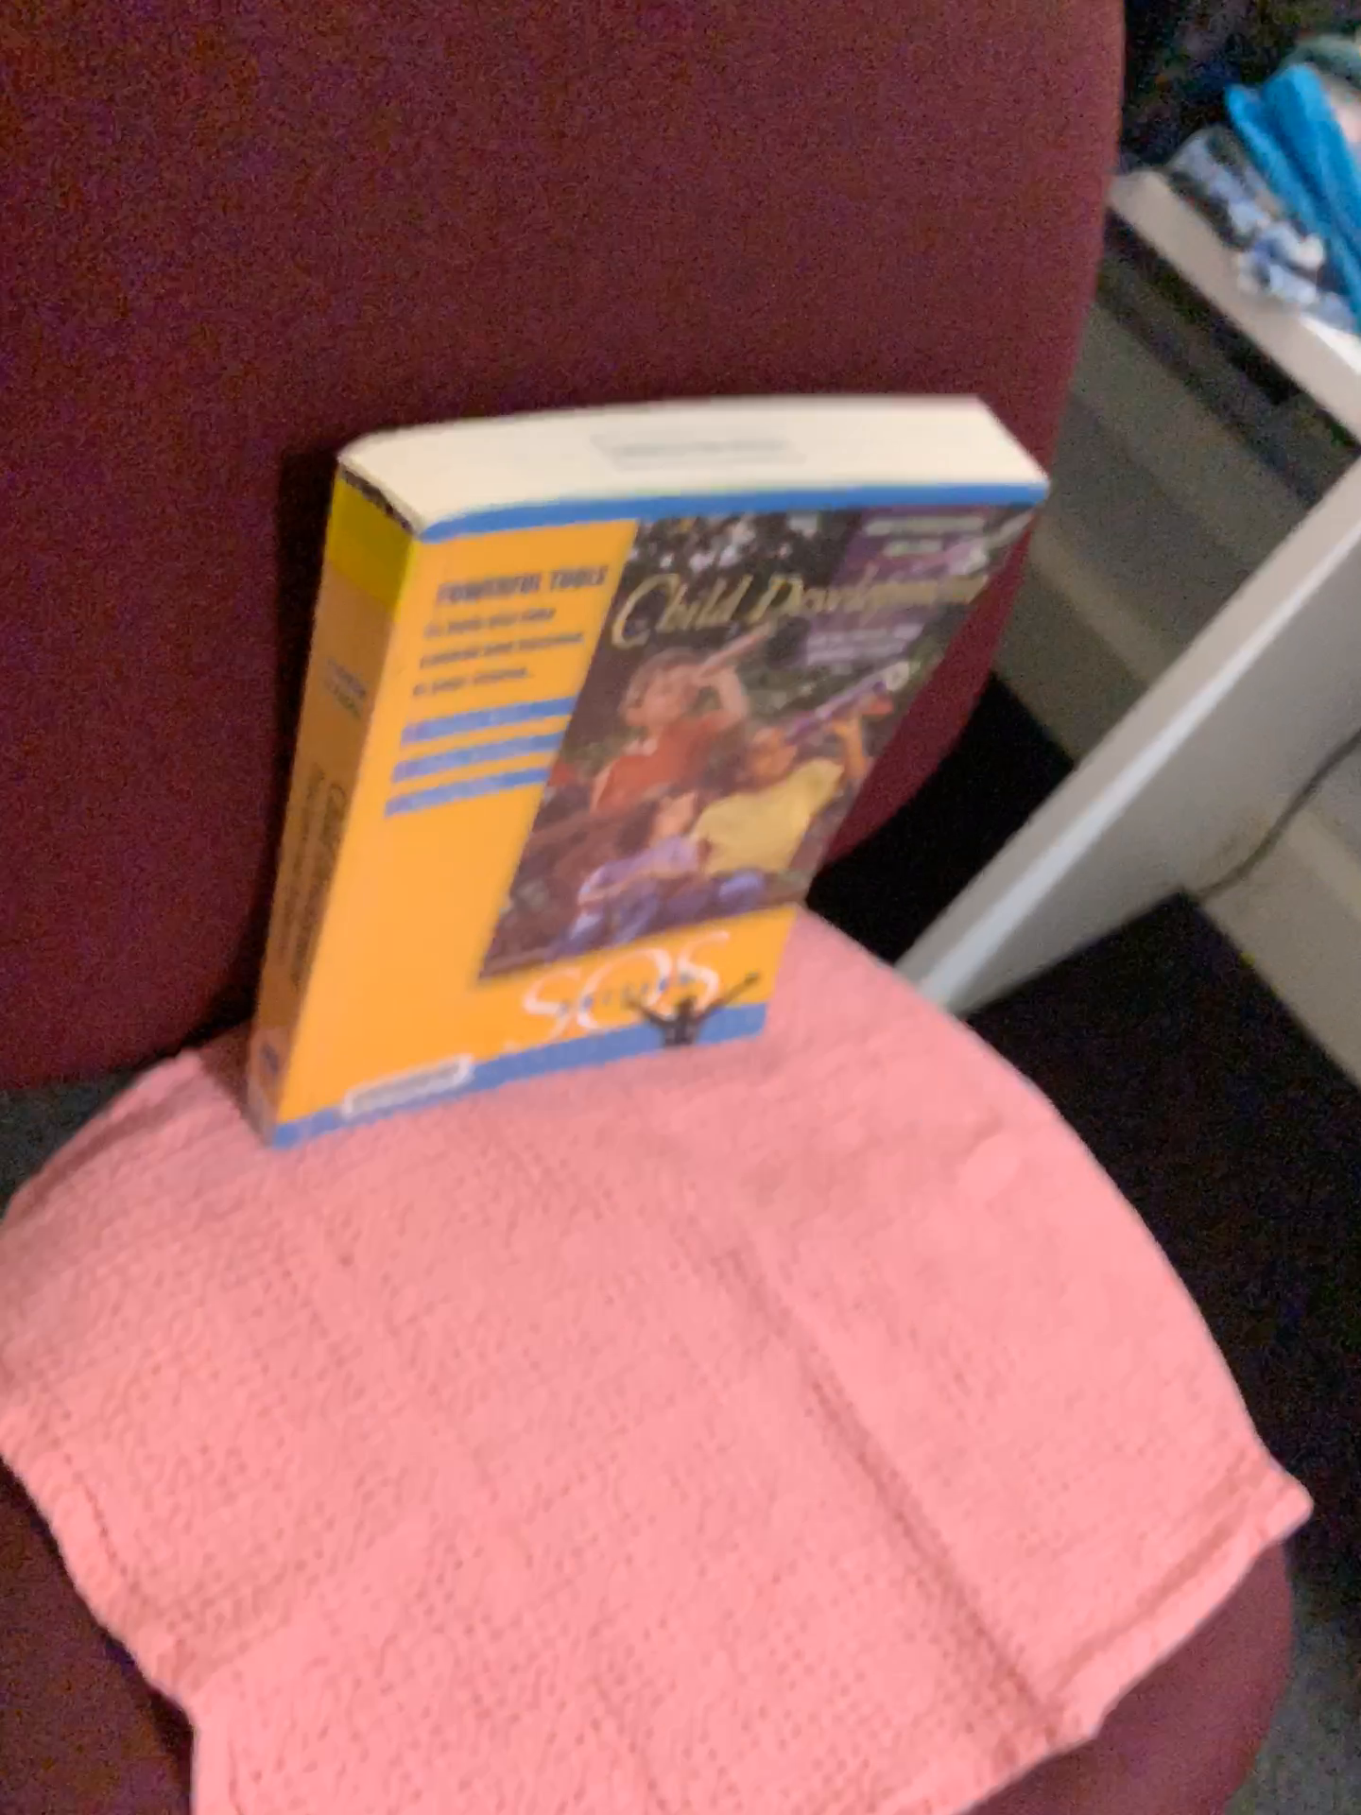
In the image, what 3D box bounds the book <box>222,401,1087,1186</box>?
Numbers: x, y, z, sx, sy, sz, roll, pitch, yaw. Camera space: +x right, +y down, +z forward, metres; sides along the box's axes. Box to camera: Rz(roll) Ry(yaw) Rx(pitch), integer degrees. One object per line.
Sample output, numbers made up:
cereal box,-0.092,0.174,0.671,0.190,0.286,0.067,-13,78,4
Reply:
book,-0.020,-0.034,0.466,0.226,0.258,0.050,-14,54,-34
